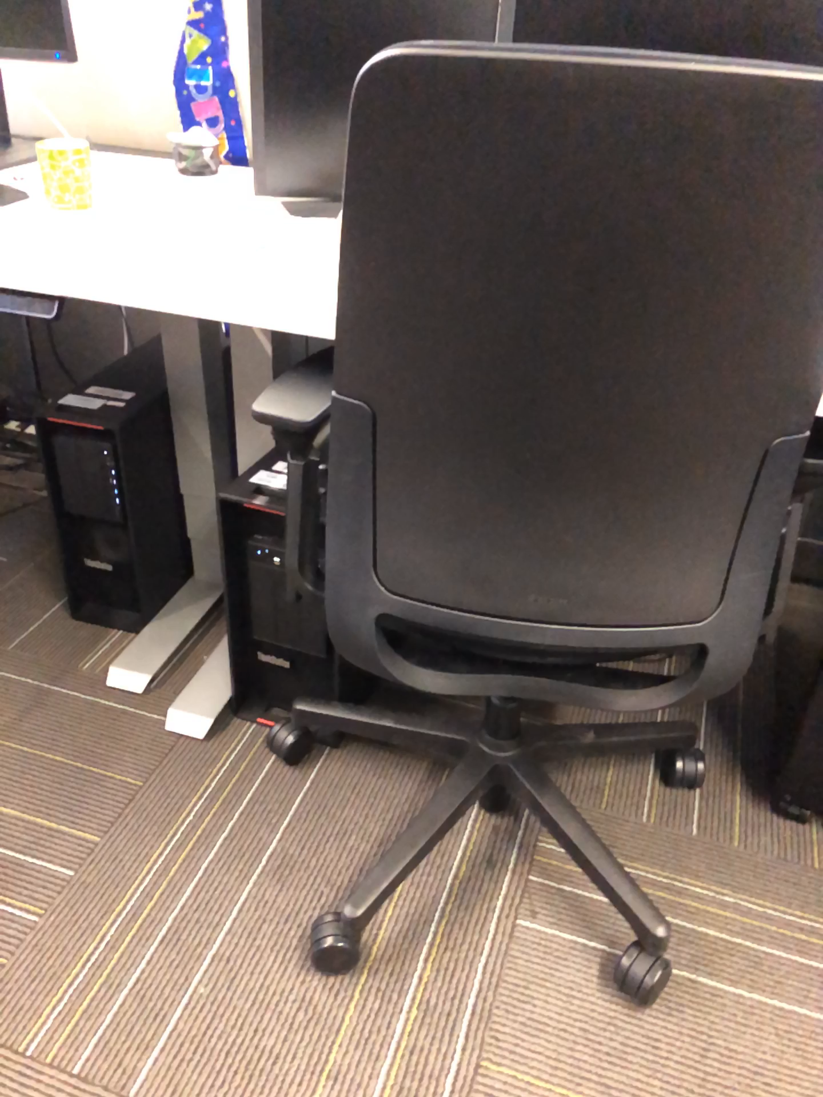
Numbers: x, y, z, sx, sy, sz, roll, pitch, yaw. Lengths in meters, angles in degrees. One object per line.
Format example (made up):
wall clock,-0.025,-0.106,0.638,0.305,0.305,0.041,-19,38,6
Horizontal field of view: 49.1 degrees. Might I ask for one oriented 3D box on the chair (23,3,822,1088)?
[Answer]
chair,0.134,-0.042,1.118,0.710,1.044,0.724,7,32,6
